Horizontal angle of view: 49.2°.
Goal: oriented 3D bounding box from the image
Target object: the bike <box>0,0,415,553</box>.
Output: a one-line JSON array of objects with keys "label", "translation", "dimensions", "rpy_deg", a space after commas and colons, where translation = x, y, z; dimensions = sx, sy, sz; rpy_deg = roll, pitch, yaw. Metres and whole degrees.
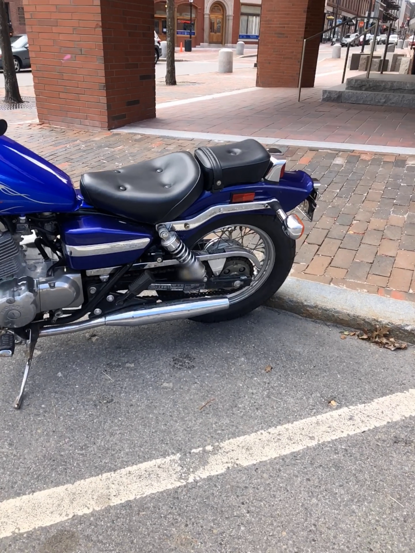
[{"label": "bike", "translation": [-0.447, -0.113, 1.289], "dimensions": [2.028, 1.178, 0.929], "rpy_deg": [-8, 29, -26]}]
